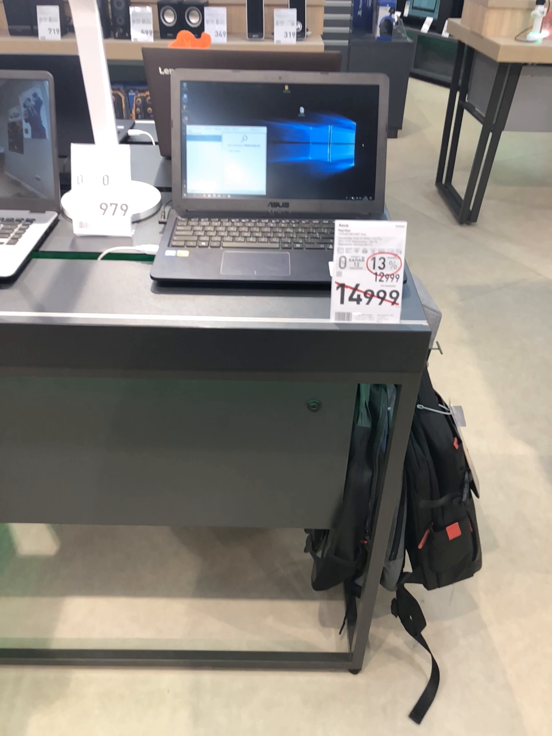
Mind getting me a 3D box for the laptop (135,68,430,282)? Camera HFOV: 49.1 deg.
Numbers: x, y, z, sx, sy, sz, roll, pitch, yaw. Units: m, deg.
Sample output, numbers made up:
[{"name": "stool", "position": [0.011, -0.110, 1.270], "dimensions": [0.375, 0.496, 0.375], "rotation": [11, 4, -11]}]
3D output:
[{"name": "laptop", "position": [0.006, -0.330, 0.985], "dimensions": [0.380, 0.209, 0.372], "rotation": [1, 37, 0]}]
